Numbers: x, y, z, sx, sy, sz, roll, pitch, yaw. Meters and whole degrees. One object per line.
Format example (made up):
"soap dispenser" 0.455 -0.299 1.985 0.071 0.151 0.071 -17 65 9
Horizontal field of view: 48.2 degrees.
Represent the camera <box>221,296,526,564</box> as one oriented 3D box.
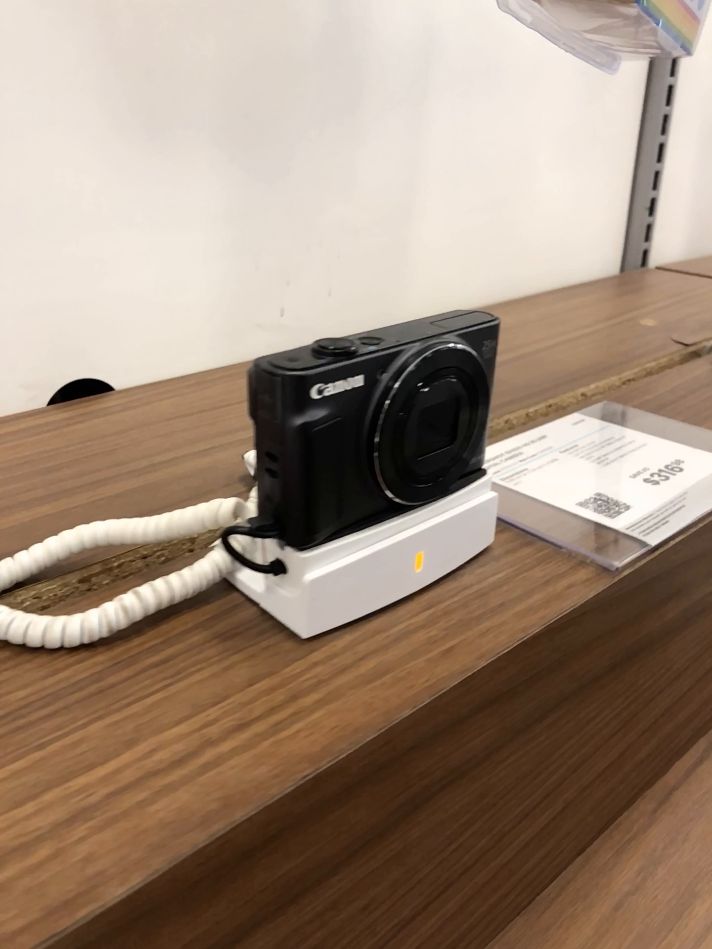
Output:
"camera" 0.009 -0.019 0.258 0.100 0.060 0.030 -19 30 -37
